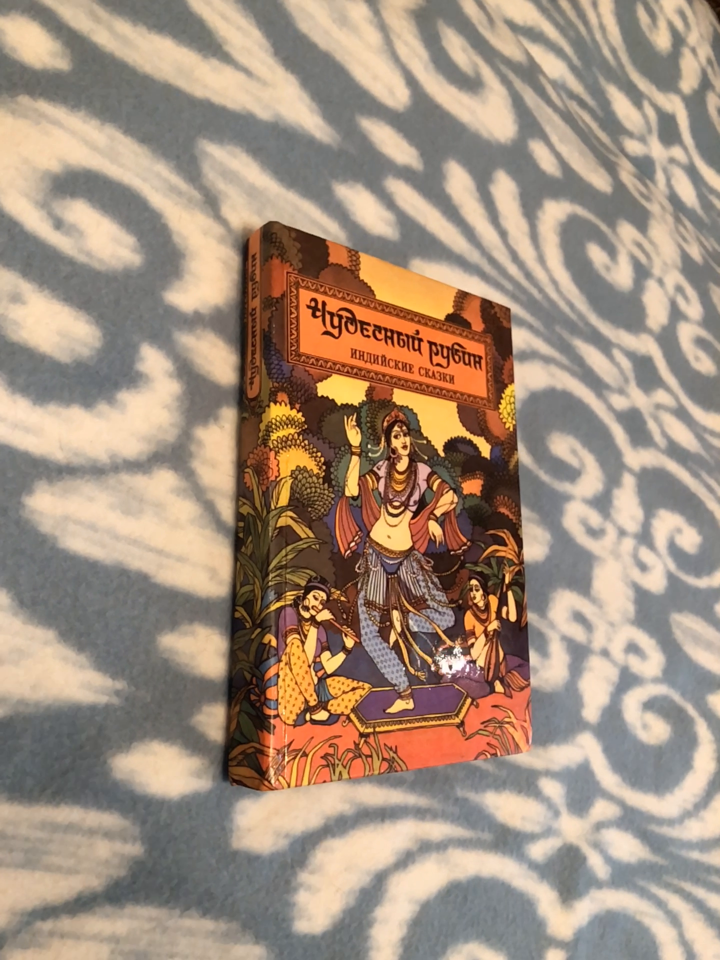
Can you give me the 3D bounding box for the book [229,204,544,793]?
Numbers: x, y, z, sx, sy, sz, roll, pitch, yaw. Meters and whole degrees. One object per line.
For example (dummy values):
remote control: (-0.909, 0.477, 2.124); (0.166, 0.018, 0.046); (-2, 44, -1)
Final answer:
book: (0.017, 0.009, 0.335); (0.140, 0.027, 0.210); (9, 76, -38)
